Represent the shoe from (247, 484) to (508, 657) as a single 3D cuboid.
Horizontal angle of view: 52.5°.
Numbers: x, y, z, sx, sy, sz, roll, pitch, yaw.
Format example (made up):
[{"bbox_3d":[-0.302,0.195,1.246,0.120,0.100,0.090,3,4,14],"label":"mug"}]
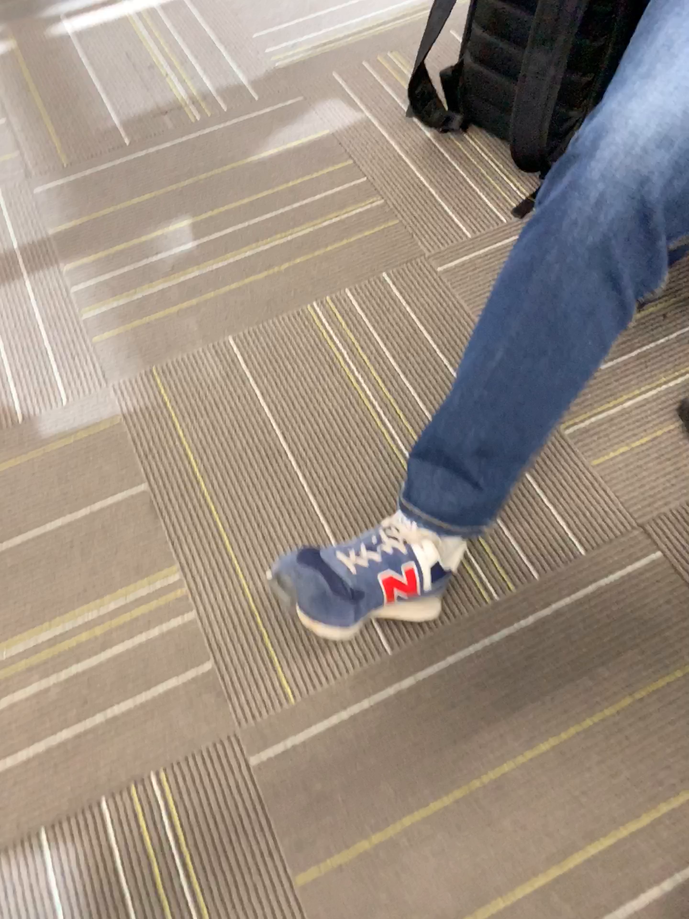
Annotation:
[{"bbox_3d":[0.051,0.126,0.849,0.121,0.296,0.136,36,109,36],"label":"shoe"}]
